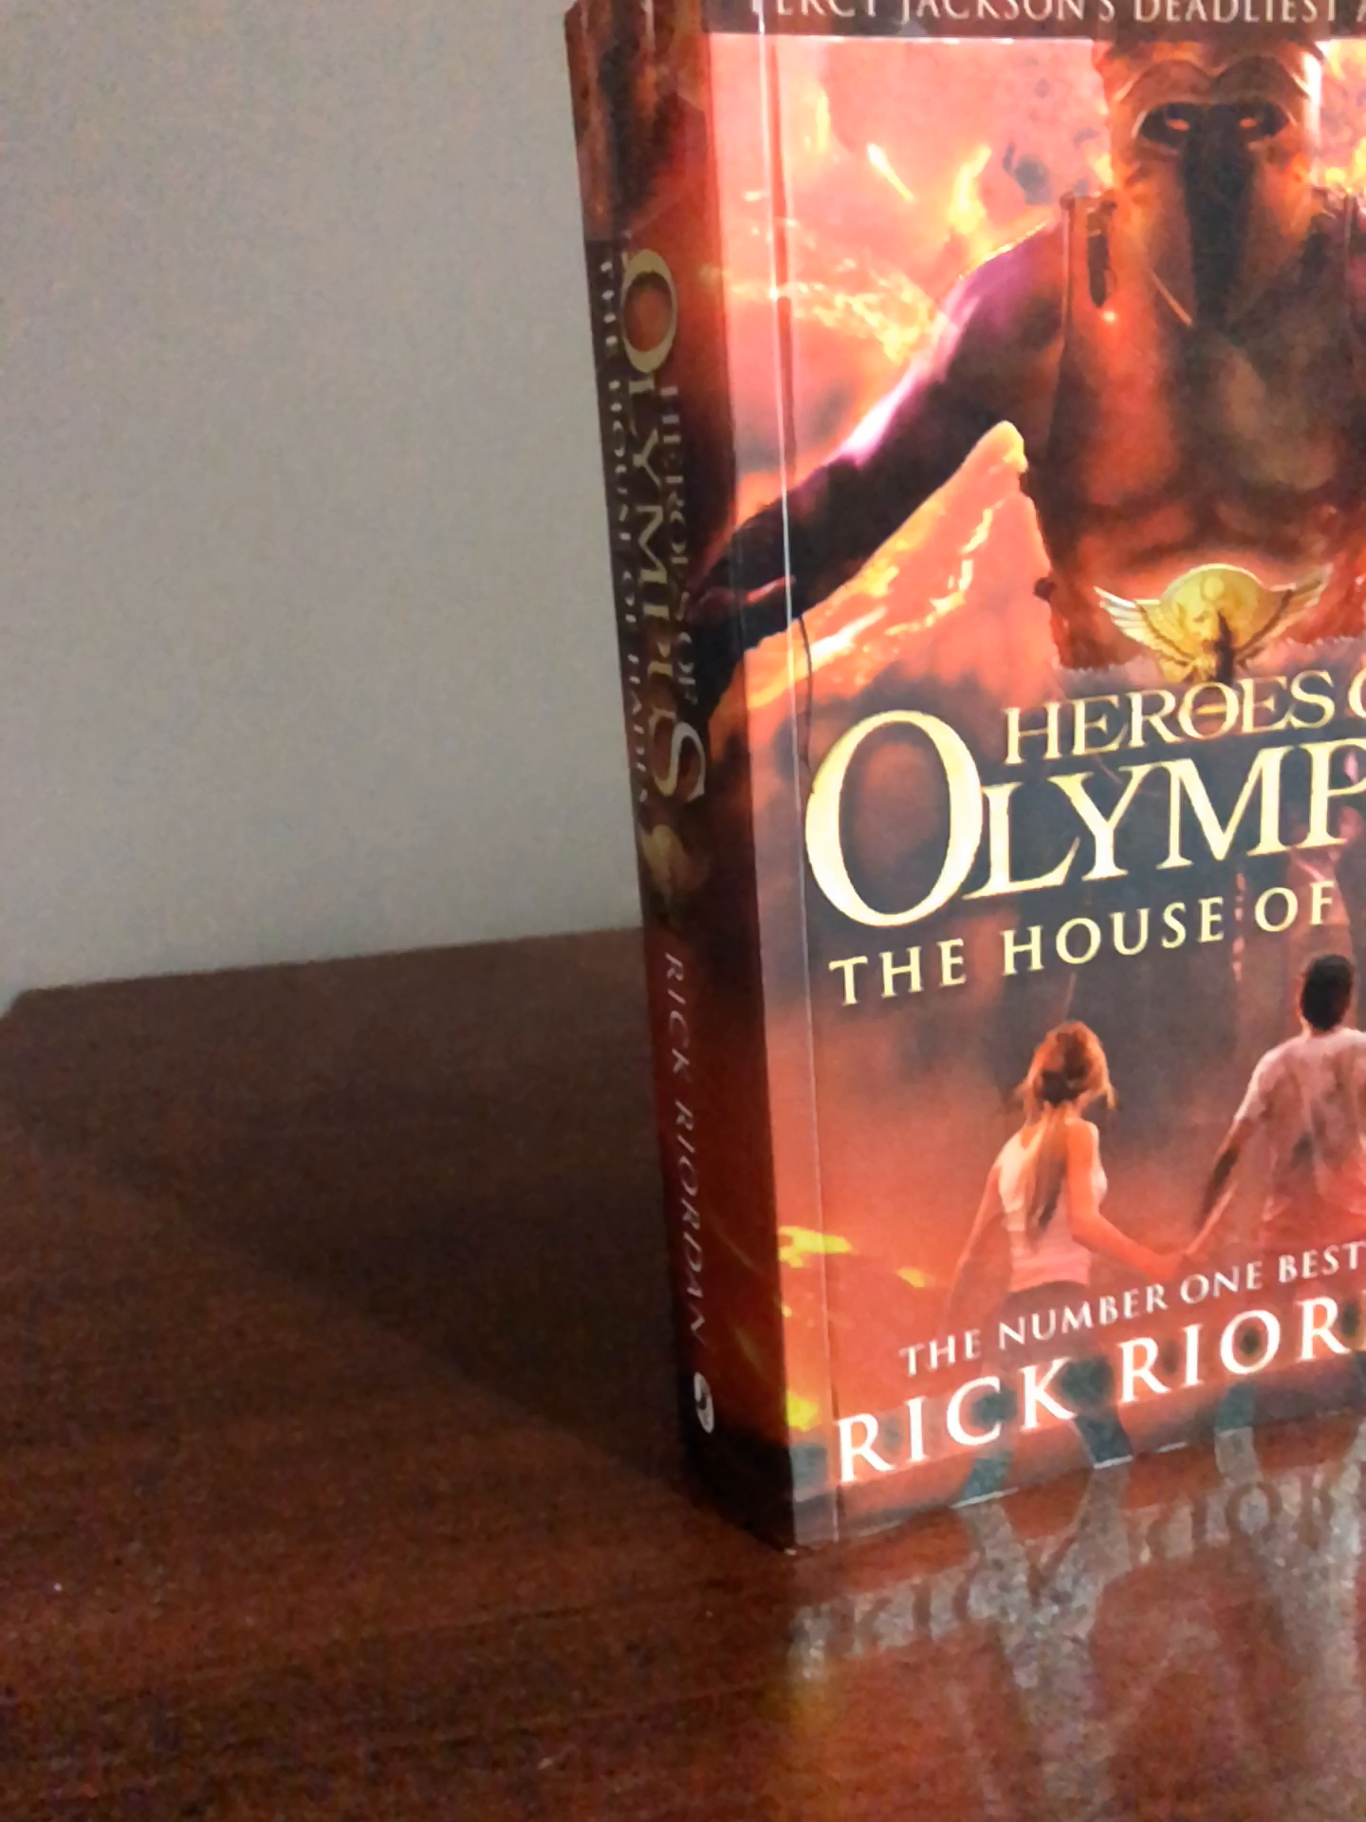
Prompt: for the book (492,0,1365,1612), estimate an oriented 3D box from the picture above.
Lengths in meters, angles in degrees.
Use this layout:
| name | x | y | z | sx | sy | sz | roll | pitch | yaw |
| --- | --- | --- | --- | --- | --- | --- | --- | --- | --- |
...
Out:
| name | x | y | z | sx | sy | sz | roll | pitch | yaw |
| --- | --- | --- | --- | --- | --- | --- | --- | --- | --- |
| book | 0.056 | -0.022 | 0.218 | 0.140 | 0.199 | 0.060 | -8 | 16 | -16 |
